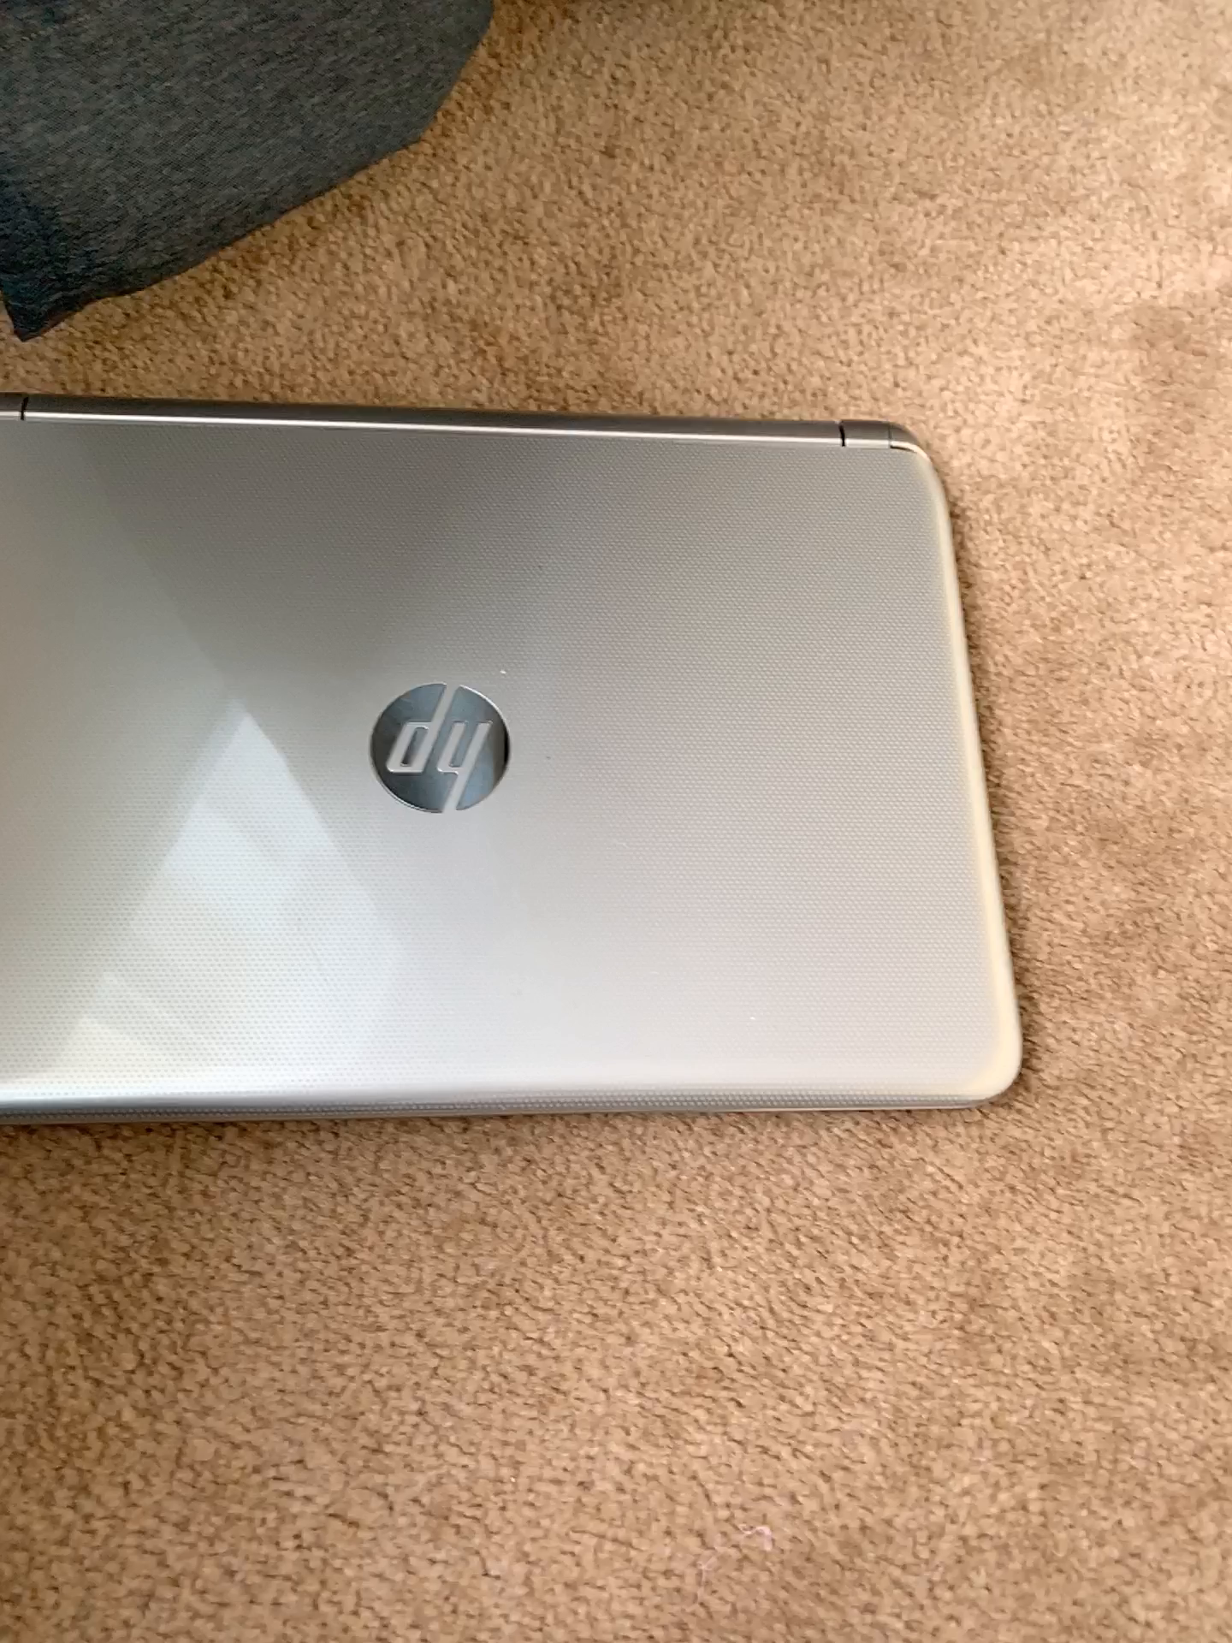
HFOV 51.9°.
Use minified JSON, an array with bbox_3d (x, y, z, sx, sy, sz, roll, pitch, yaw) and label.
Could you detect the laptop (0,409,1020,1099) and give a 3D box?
[{"bbox_3d":[-0.054,-0.029,0.386,0.328,0.002,0.223,0,68,-4],"label":"laptop"}]
